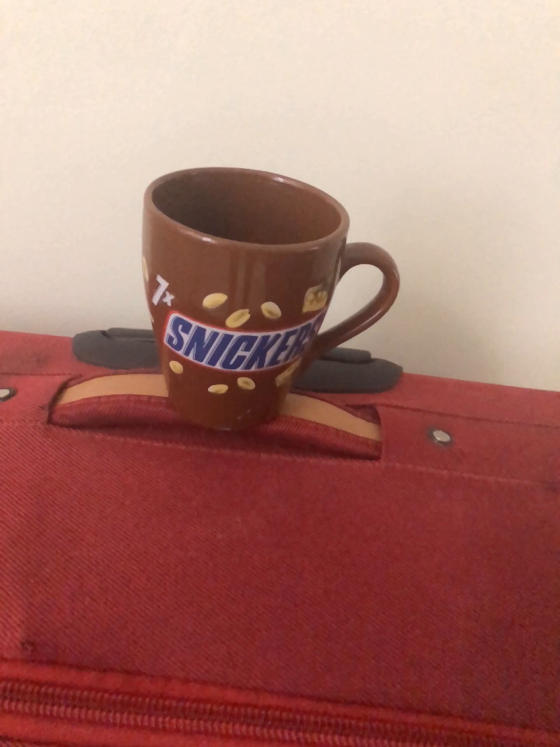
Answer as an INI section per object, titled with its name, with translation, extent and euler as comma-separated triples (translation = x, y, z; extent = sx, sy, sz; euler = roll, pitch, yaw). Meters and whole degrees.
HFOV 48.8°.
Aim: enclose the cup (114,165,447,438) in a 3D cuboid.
[cup]
translation = -0.003, -0.033, 0.270
extent = 0.115, 0.080, 0.088
euler = 3, 36, -4
